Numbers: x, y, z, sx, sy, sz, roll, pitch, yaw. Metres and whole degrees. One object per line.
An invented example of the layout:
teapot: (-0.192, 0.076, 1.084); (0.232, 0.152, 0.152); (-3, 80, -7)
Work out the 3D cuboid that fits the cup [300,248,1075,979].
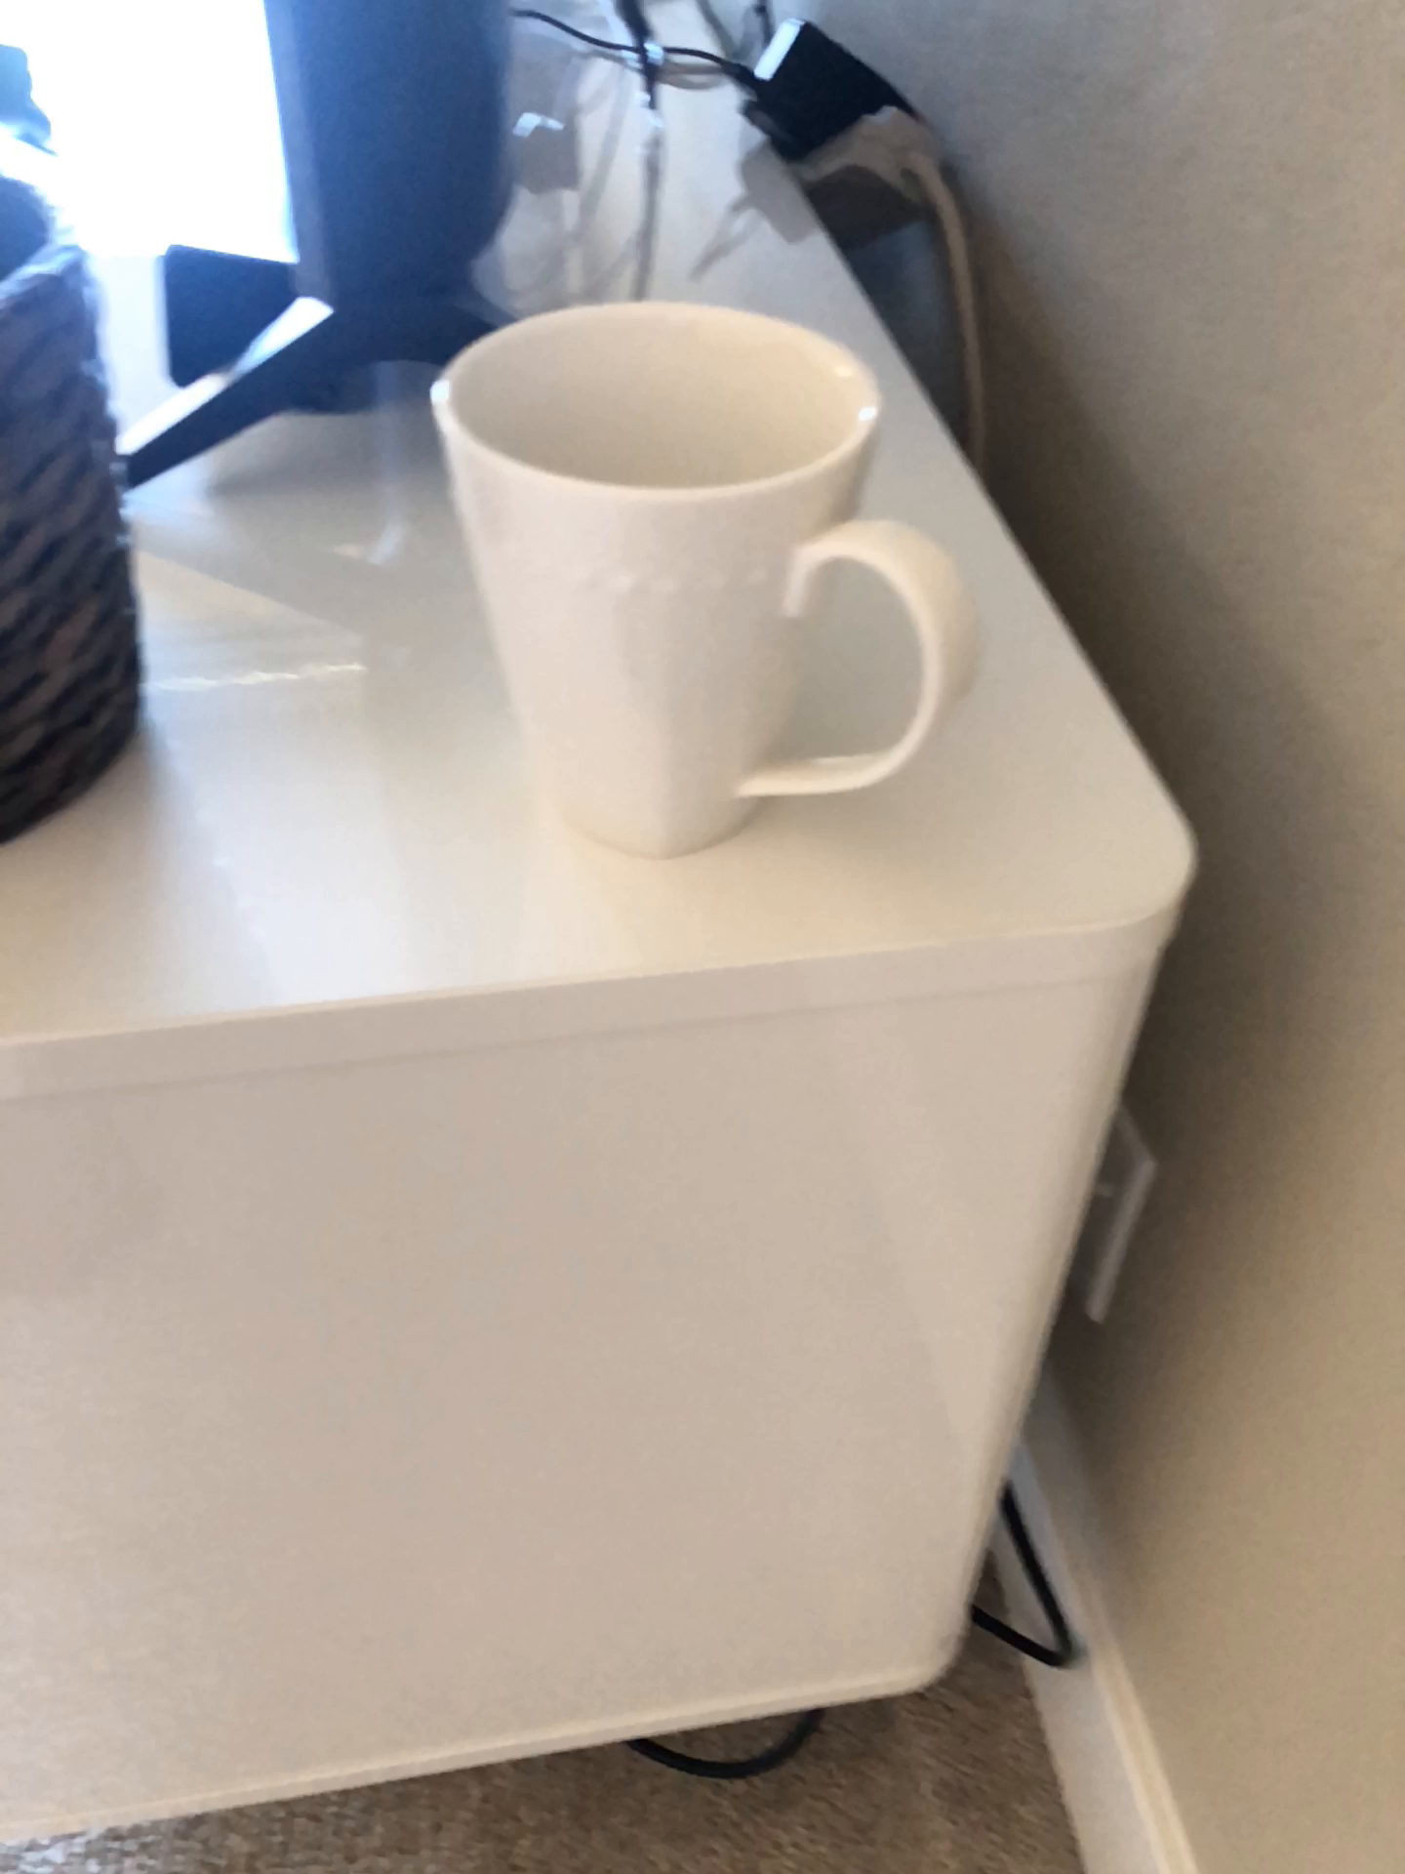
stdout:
cup: (-0.006, -0.078, 0.341); (0.130, 0.090, 0.090); (34, 52, 31)
